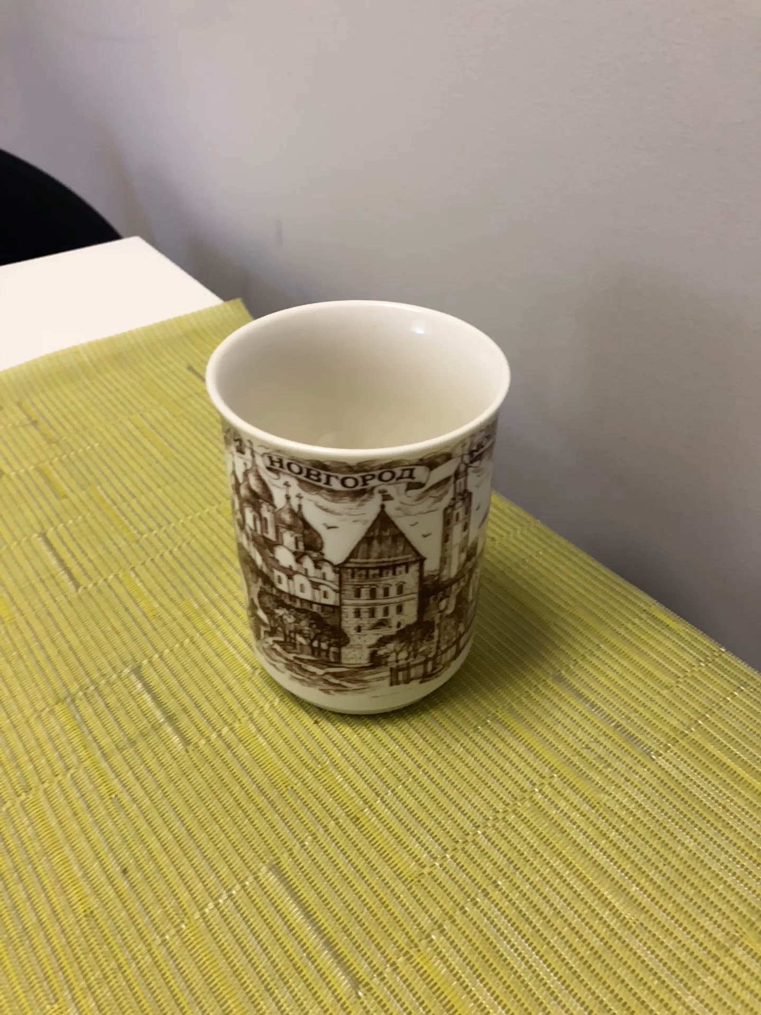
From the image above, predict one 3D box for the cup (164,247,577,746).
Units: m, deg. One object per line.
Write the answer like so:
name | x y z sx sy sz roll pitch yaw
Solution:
cup | -0.013 -0.012 0.270 0.094 0.092 0.125 -7 39 -10
